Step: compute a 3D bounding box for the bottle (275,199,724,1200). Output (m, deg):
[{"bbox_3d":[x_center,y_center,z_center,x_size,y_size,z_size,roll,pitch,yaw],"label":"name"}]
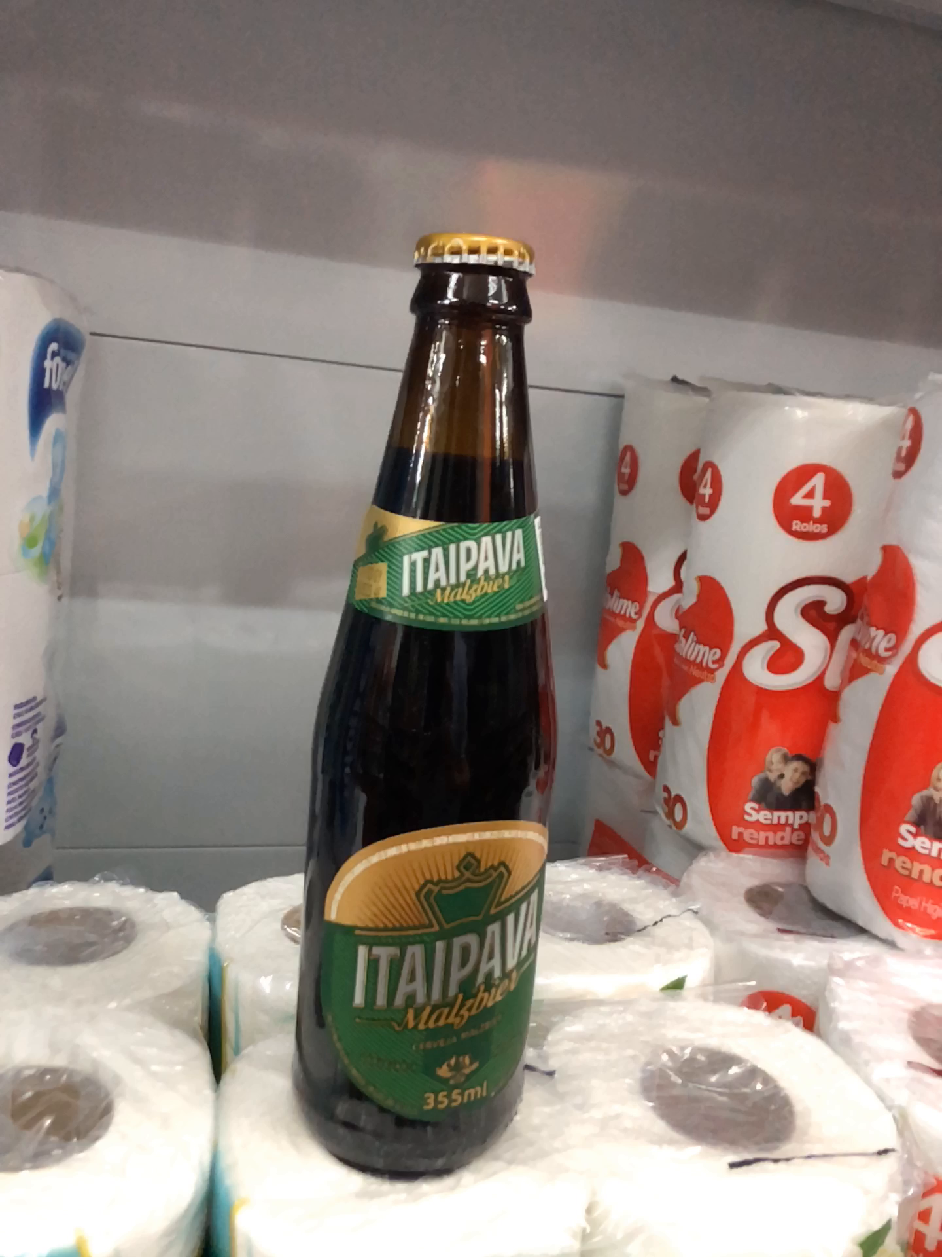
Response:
[{"bbox_3d":[-0.001,0.019,0.260,0.070,0.219,0.060,2,12,-22],"label":"bottle"}]
